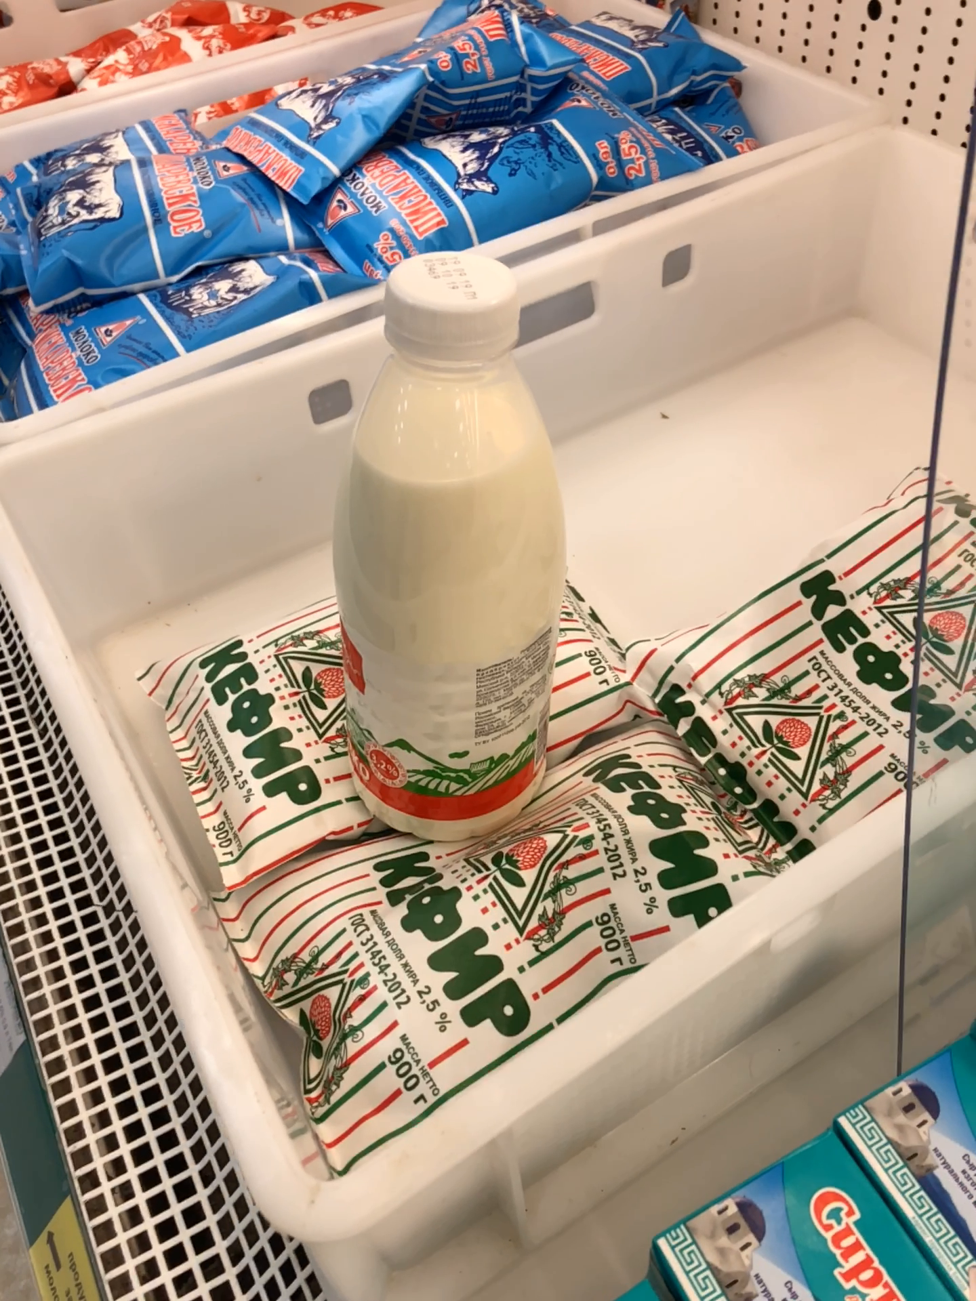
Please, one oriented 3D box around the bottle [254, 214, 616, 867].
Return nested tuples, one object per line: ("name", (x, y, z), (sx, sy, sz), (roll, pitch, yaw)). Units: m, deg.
("bottle", (-0.021, -0.027, 0.384), (0.085, 0.216, 0.085), (1, 46, -1))
